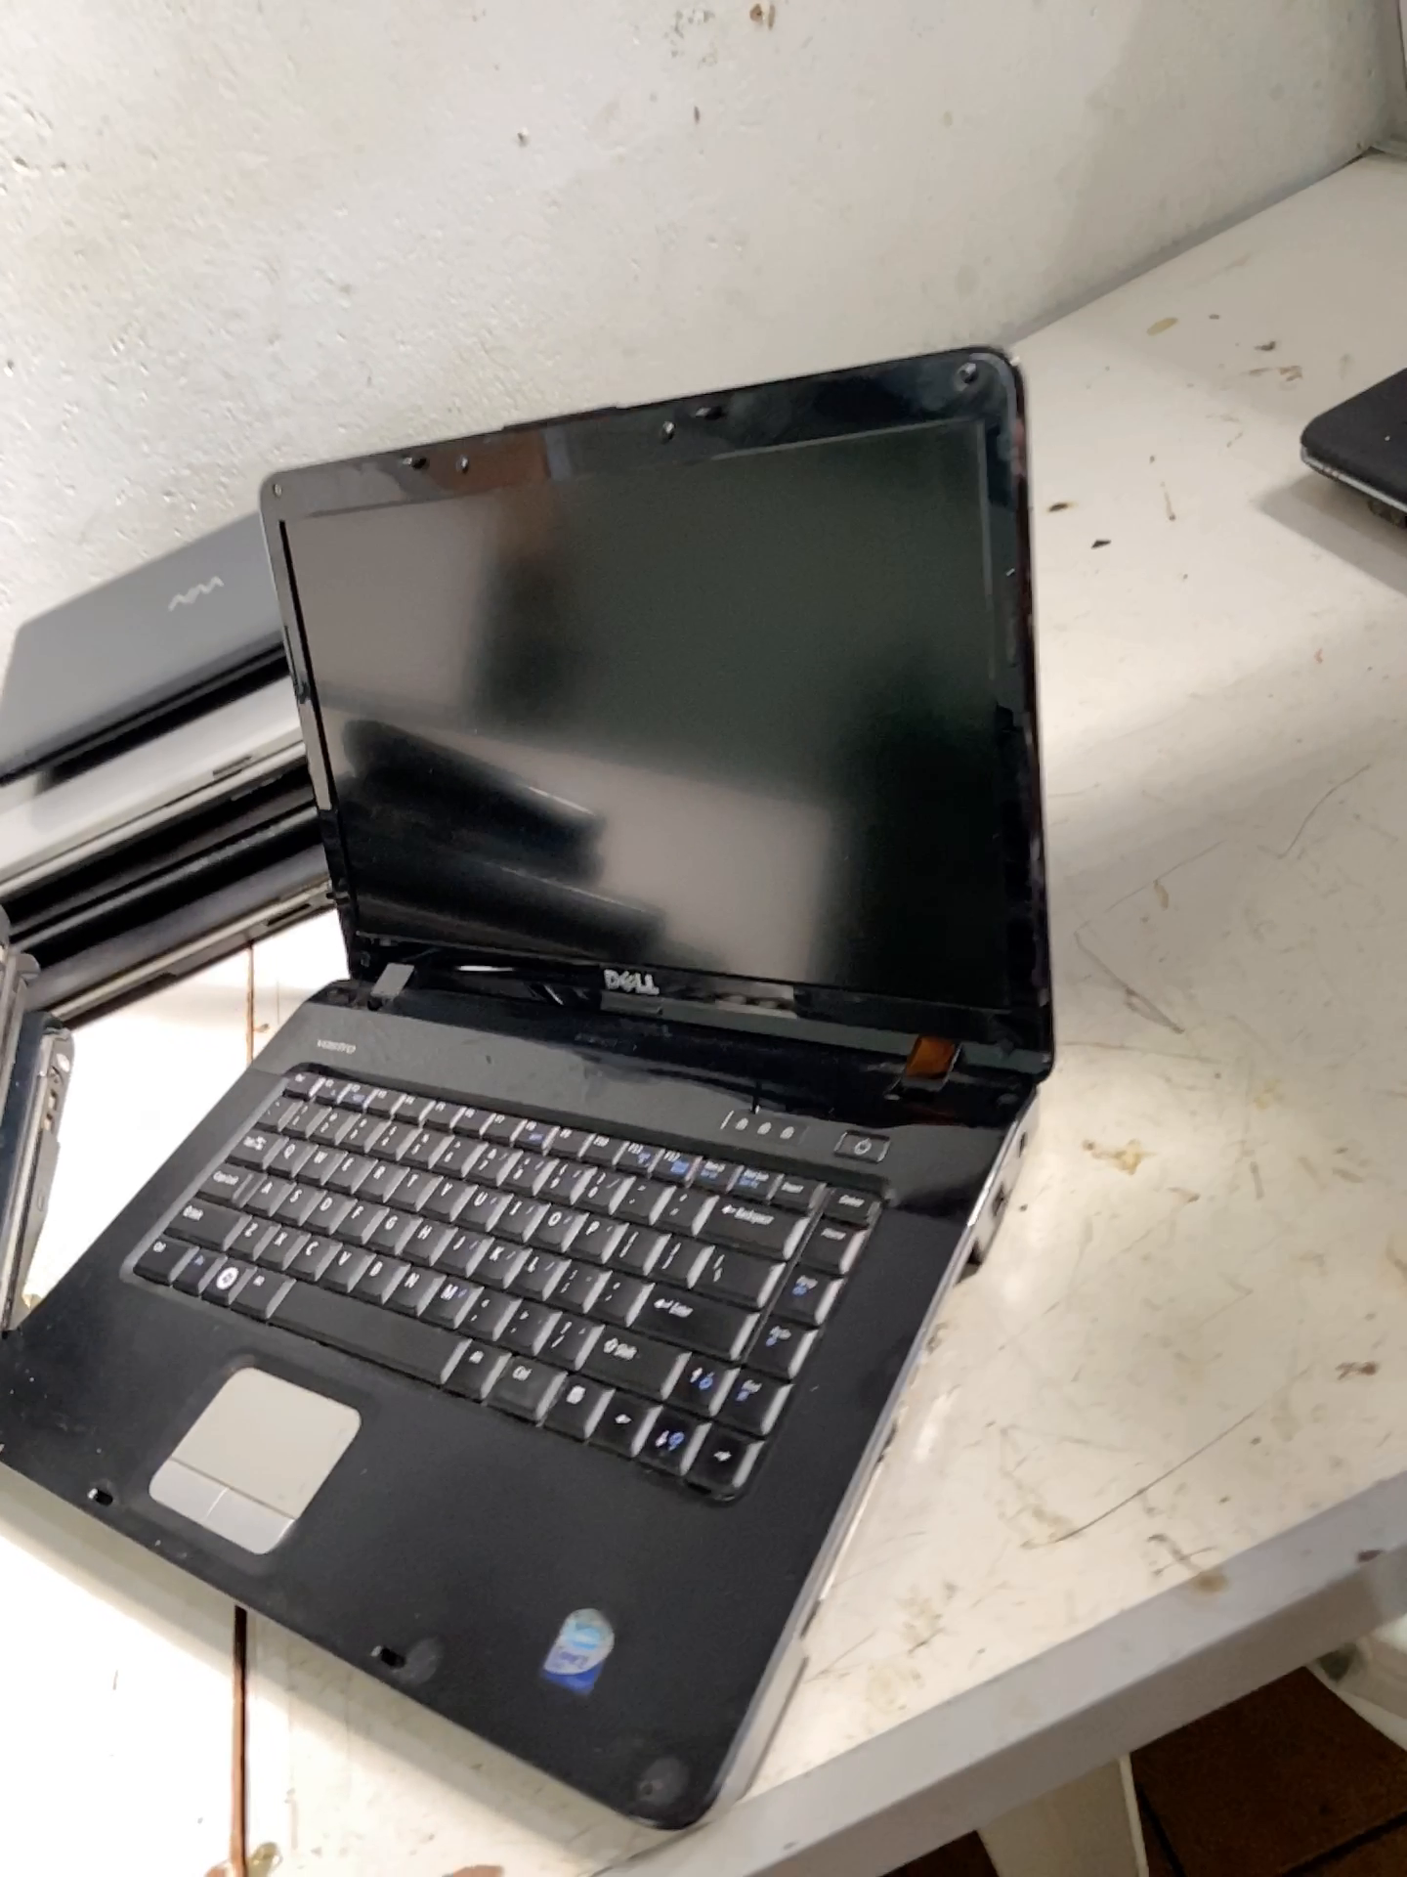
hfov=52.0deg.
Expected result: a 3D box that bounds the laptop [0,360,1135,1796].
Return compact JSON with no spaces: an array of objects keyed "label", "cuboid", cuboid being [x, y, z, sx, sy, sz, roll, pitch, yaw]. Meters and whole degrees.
[{"label":"laptop","cuboid":[-0.104,0.007,0.505,0.366,0.203,0.353,5,46,37]}]
